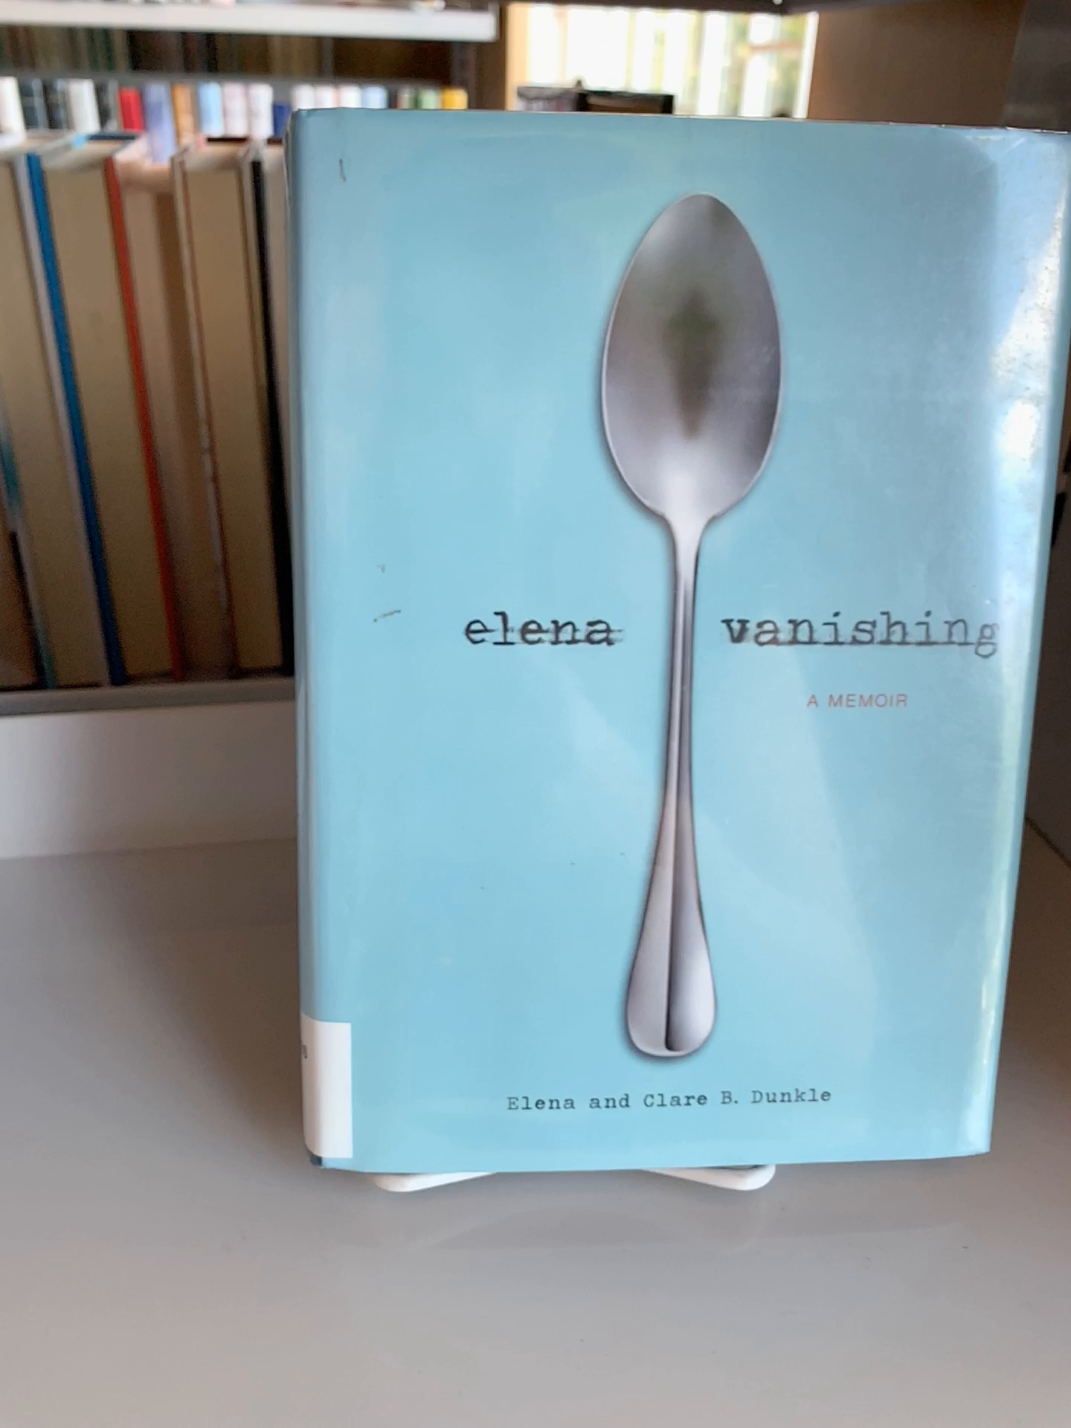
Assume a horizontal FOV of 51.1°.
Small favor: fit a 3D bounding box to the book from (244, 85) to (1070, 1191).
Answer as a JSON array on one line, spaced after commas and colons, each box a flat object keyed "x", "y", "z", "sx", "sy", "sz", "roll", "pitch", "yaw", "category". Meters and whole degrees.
[{"x": 0.029, "y": -0.008, "z": 0.227, "sx": 0.159, "sy": 0.203, "sz": 0.035, "roll": 0, "pitch": 12, "yaw": -4, "category": "book"}]
